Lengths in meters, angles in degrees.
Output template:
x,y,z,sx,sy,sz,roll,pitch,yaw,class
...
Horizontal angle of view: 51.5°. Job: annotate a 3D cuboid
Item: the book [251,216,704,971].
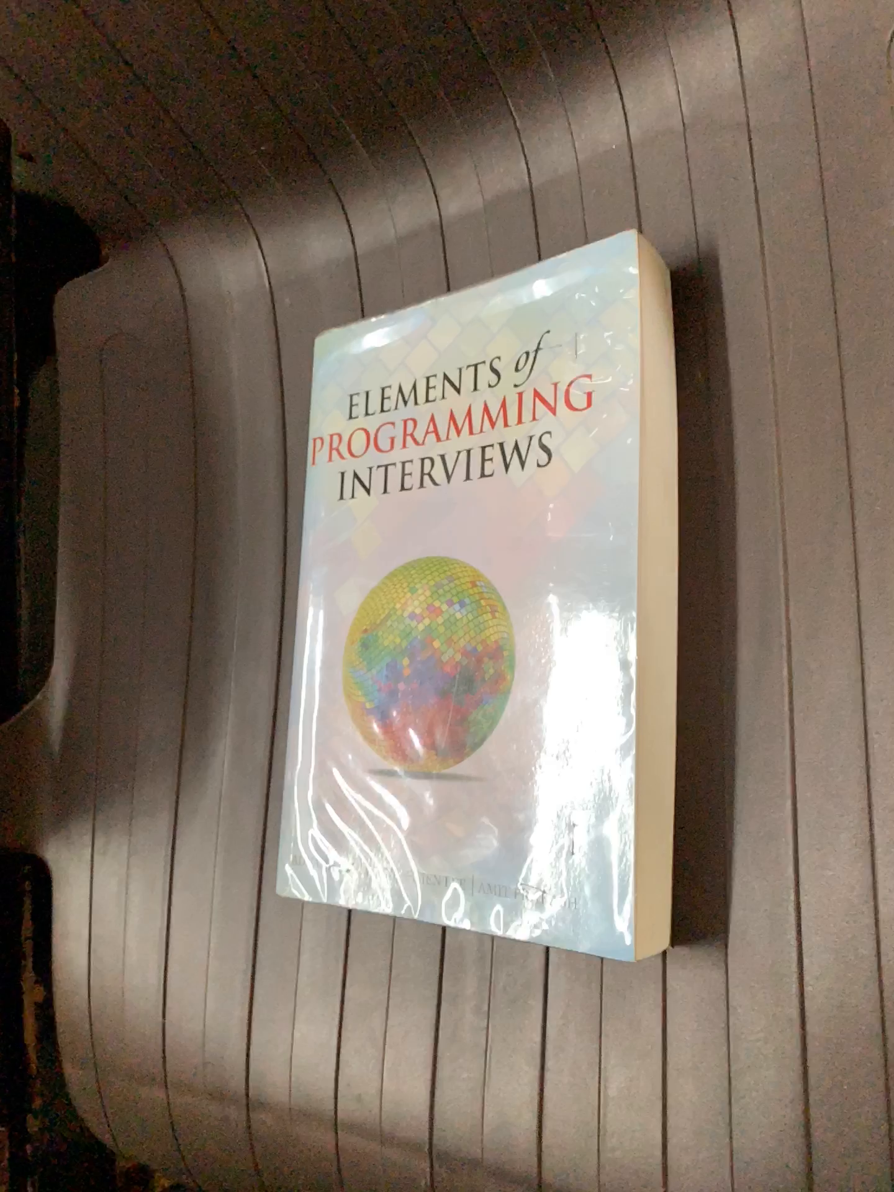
x,y,z,sx,sy,sz,roll,pitch,yaw,class
0.009,0.000,0.346,0.161,0.050,0.230,-4,79,36,book
